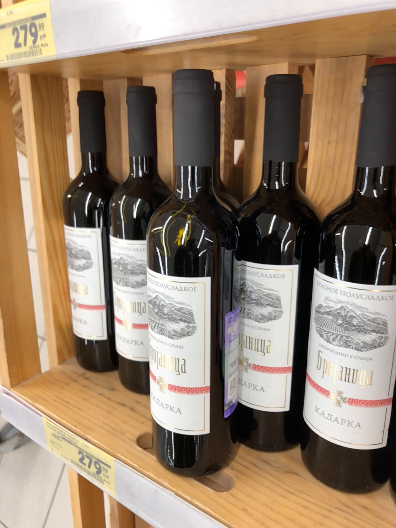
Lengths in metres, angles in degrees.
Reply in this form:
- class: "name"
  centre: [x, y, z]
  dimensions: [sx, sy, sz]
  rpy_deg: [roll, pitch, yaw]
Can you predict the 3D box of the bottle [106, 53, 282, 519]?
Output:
- class: "bottle"
  centre: [-0.003, 0.021, 0.327]
  dimensions: [0.080, 0.080, 0.309]
  rpy_deg: [14, 112, 36]
